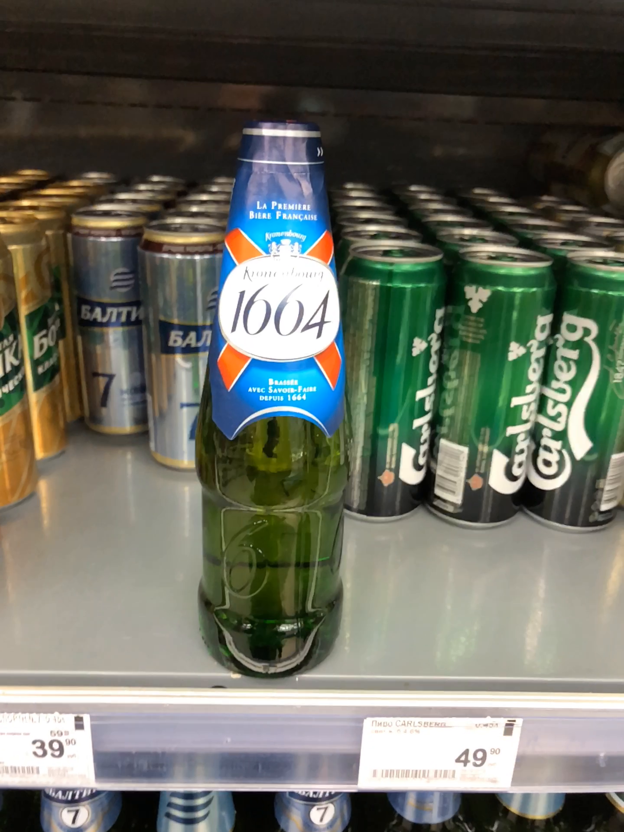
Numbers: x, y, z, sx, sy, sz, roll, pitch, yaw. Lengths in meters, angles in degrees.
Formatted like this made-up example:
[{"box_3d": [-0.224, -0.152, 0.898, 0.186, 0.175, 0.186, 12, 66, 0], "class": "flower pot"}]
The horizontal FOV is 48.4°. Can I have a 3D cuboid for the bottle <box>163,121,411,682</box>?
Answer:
[{"box_3d": [-0.017, -0.003, 0.305, 0.080, 0.229, 0.080, 3, 23, -1], "class": "bottle"}]
